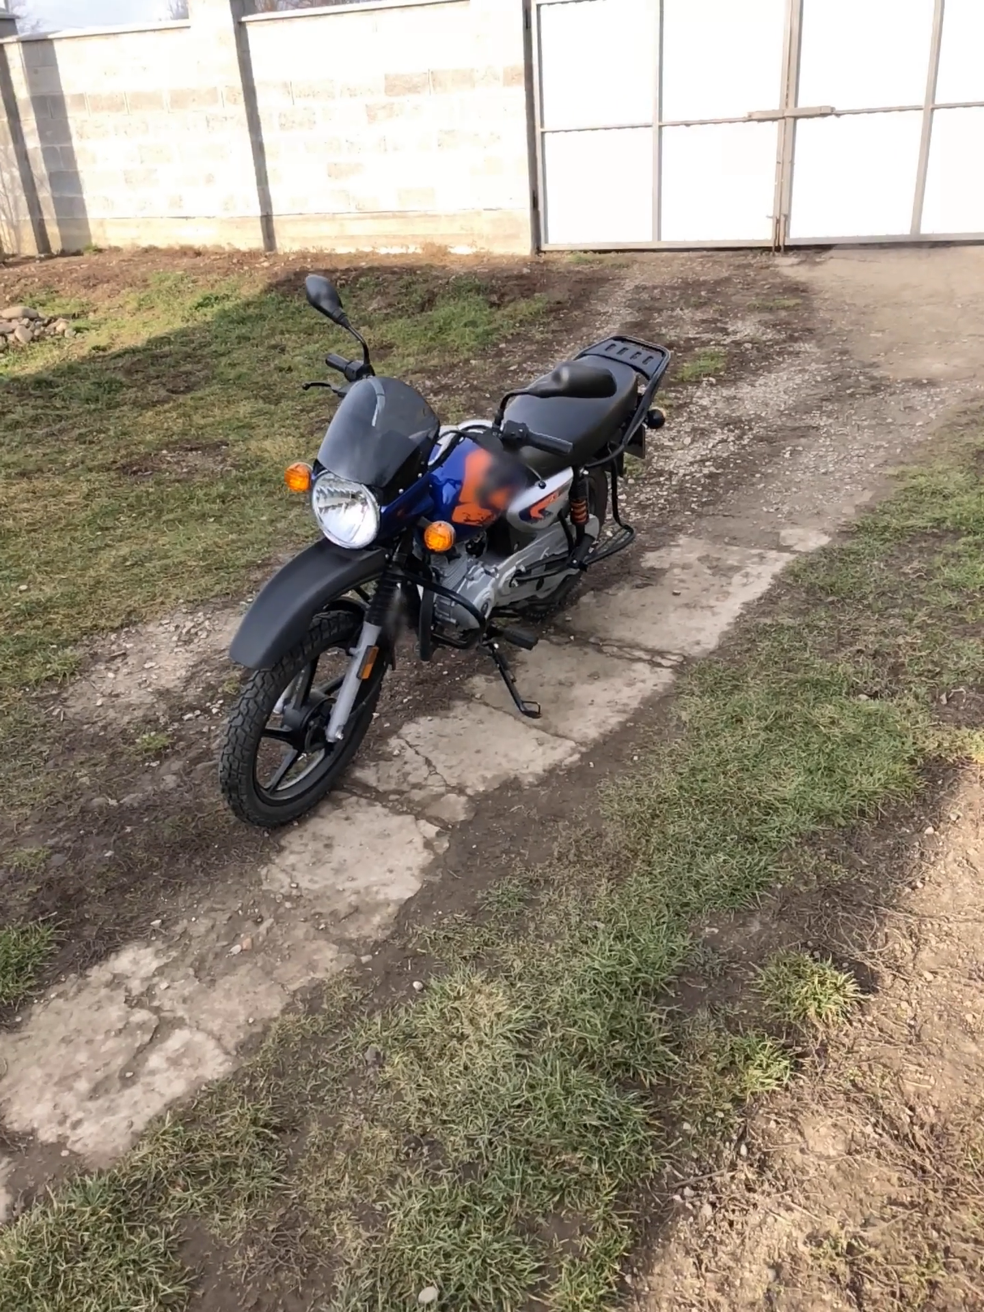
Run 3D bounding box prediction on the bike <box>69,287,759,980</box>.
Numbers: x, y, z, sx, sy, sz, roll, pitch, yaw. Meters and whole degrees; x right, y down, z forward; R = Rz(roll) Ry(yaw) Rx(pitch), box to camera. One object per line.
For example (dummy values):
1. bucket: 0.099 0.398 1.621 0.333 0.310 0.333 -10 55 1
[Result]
1. bike: -0.030 -0.252 2.926 0.807 1.050 1.788 14 34 30
